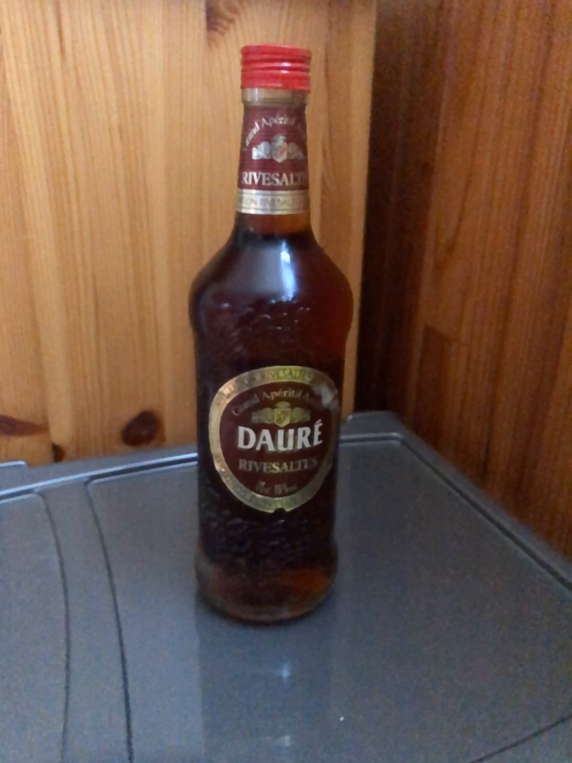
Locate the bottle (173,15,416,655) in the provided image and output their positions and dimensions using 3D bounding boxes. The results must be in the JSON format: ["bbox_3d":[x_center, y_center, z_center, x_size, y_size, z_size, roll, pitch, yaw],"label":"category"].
[{"bbox_3d":[-0.006,-0.013,0.337,0.090,0.299,0.090,2,21,-1],"label":"bottle"}]
